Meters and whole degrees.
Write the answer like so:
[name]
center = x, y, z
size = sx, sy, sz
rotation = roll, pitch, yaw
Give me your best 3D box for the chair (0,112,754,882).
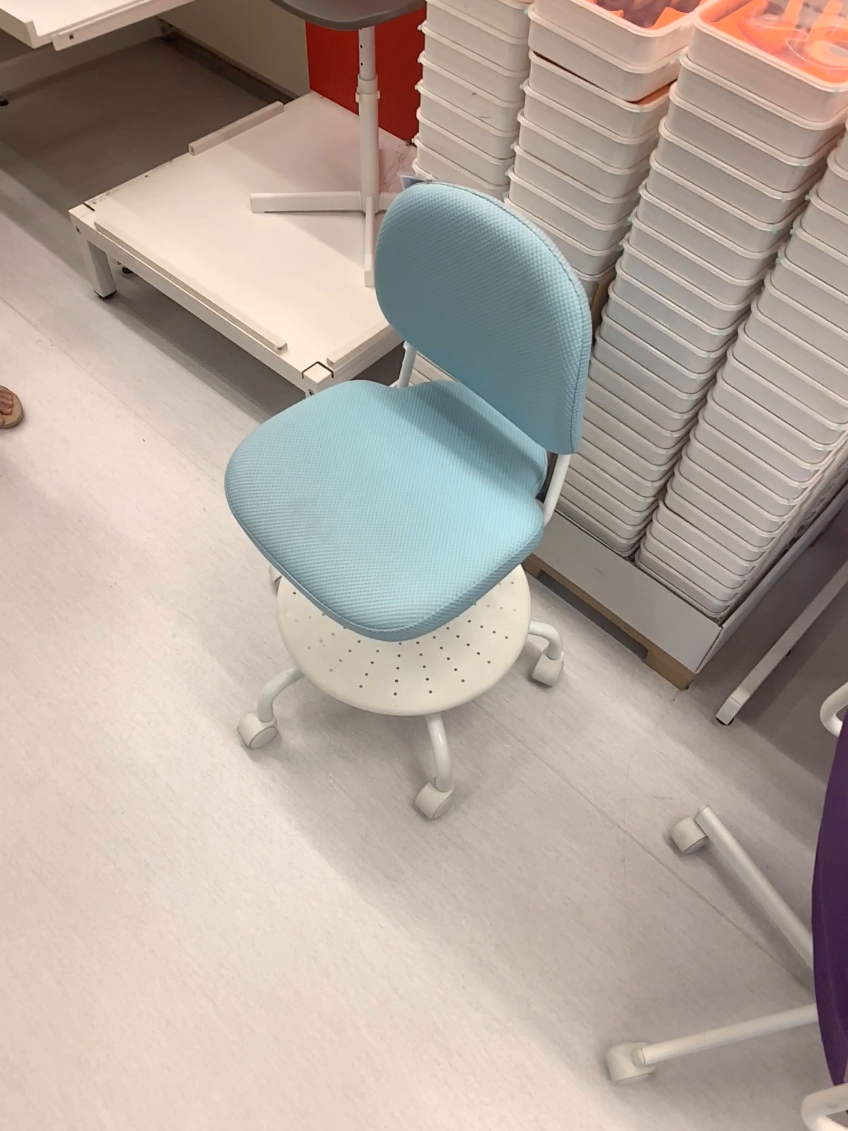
[chair]
center = -0.055, -0.072, 1.257
size = 0.571, 0.748, 0.611
rotation = 38, 61, 22
